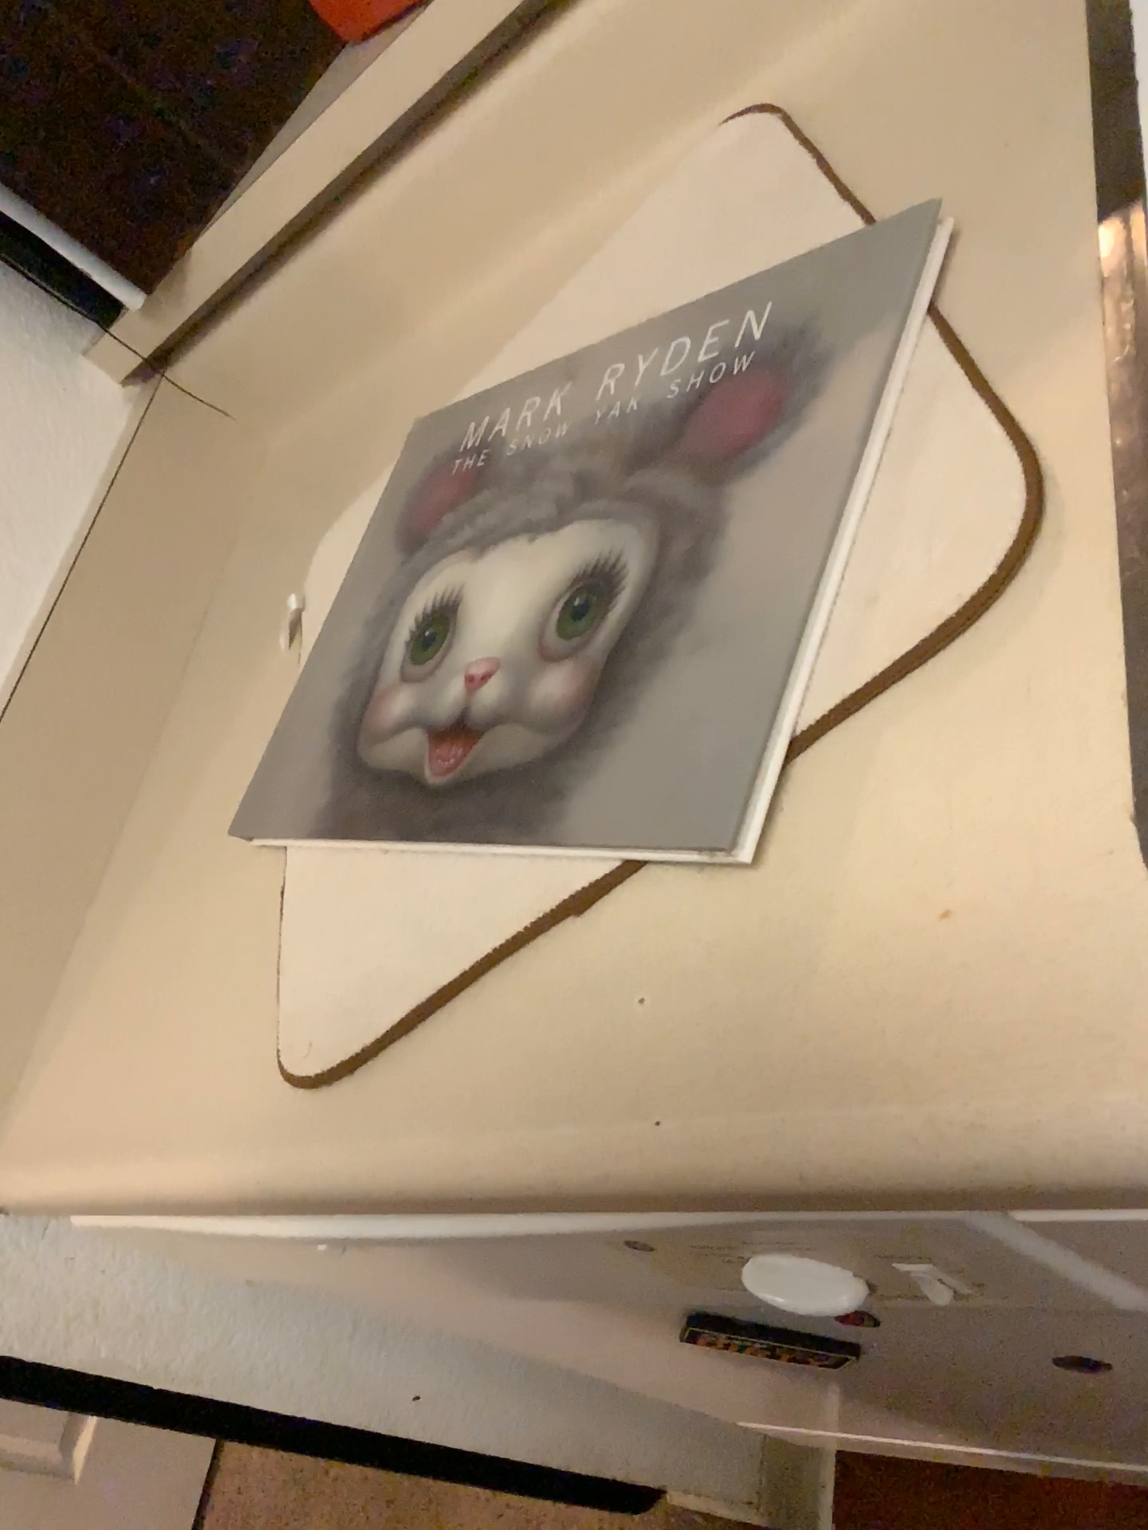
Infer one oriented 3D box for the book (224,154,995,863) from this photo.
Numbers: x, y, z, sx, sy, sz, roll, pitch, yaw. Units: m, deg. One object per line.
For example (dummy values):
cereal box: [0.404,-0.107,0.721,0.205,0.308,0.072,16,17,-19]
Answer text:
book: [-0.012,-0.096,0.595,0.380,0.020,0.290,-3,61,50]
